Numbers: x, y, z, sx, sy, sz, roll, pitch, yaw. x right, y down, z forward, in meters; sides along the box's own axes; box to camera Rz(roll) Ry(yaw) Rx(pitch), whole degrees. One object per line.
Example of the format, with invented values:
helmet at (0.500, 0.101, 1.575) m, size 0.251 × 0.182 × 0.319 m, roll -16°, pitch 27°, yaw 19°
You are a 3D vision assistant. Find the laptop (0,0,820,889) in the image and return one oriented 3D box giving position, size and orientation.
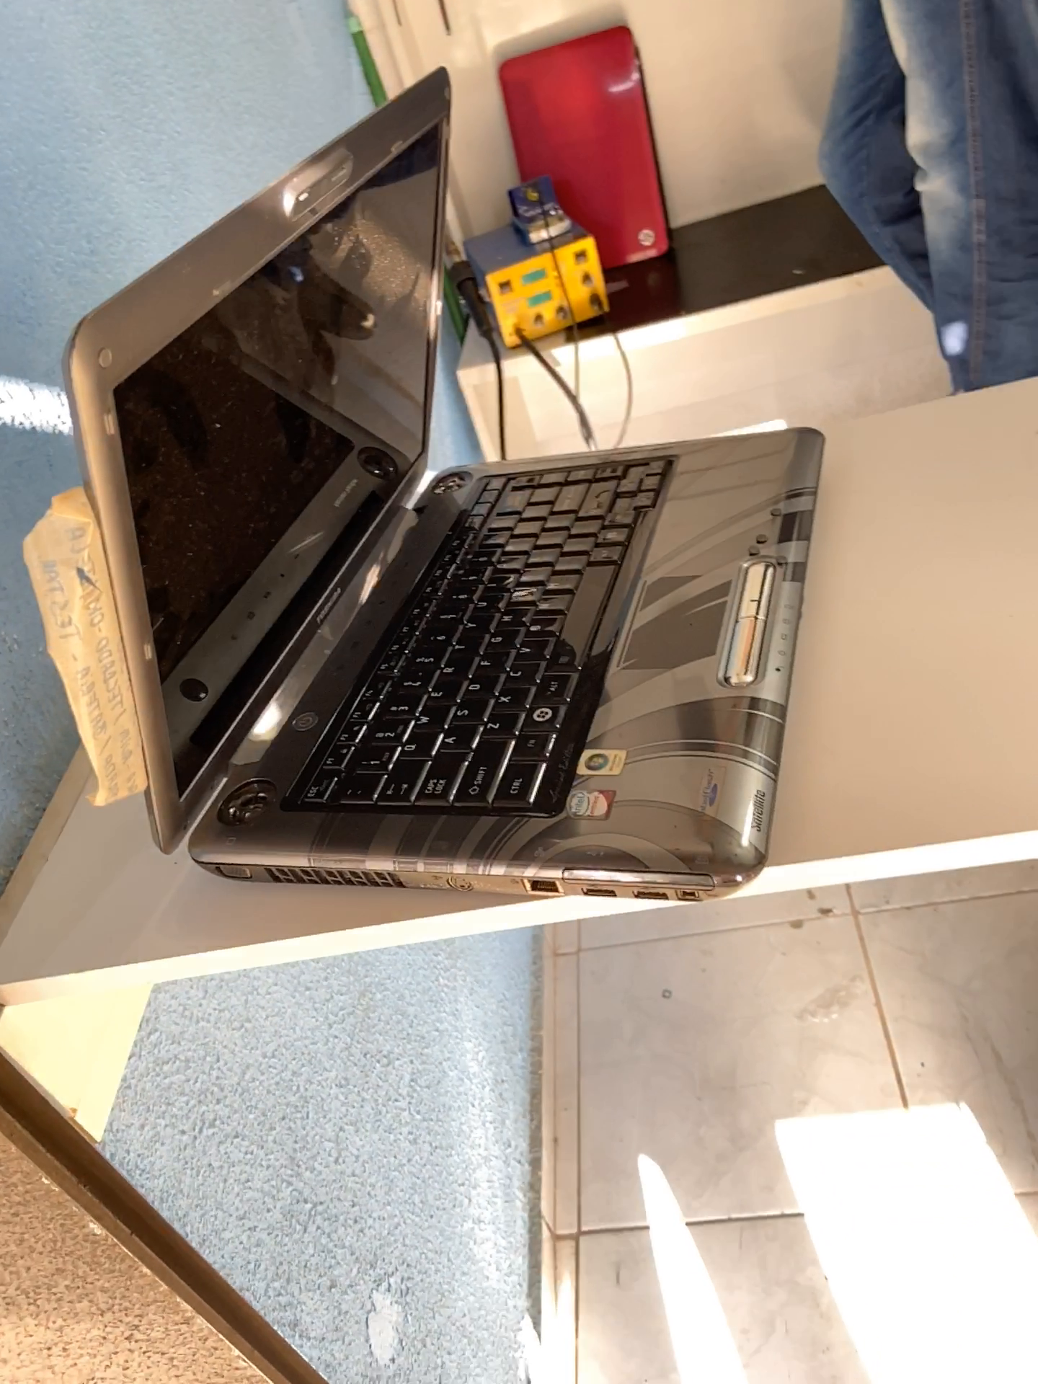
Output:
laptop at (-0.019, -0.130, 0.502) m, size 0.258 × 0.235 × 0.360 m, roll -2°, pitch 39°, yaw 23°
